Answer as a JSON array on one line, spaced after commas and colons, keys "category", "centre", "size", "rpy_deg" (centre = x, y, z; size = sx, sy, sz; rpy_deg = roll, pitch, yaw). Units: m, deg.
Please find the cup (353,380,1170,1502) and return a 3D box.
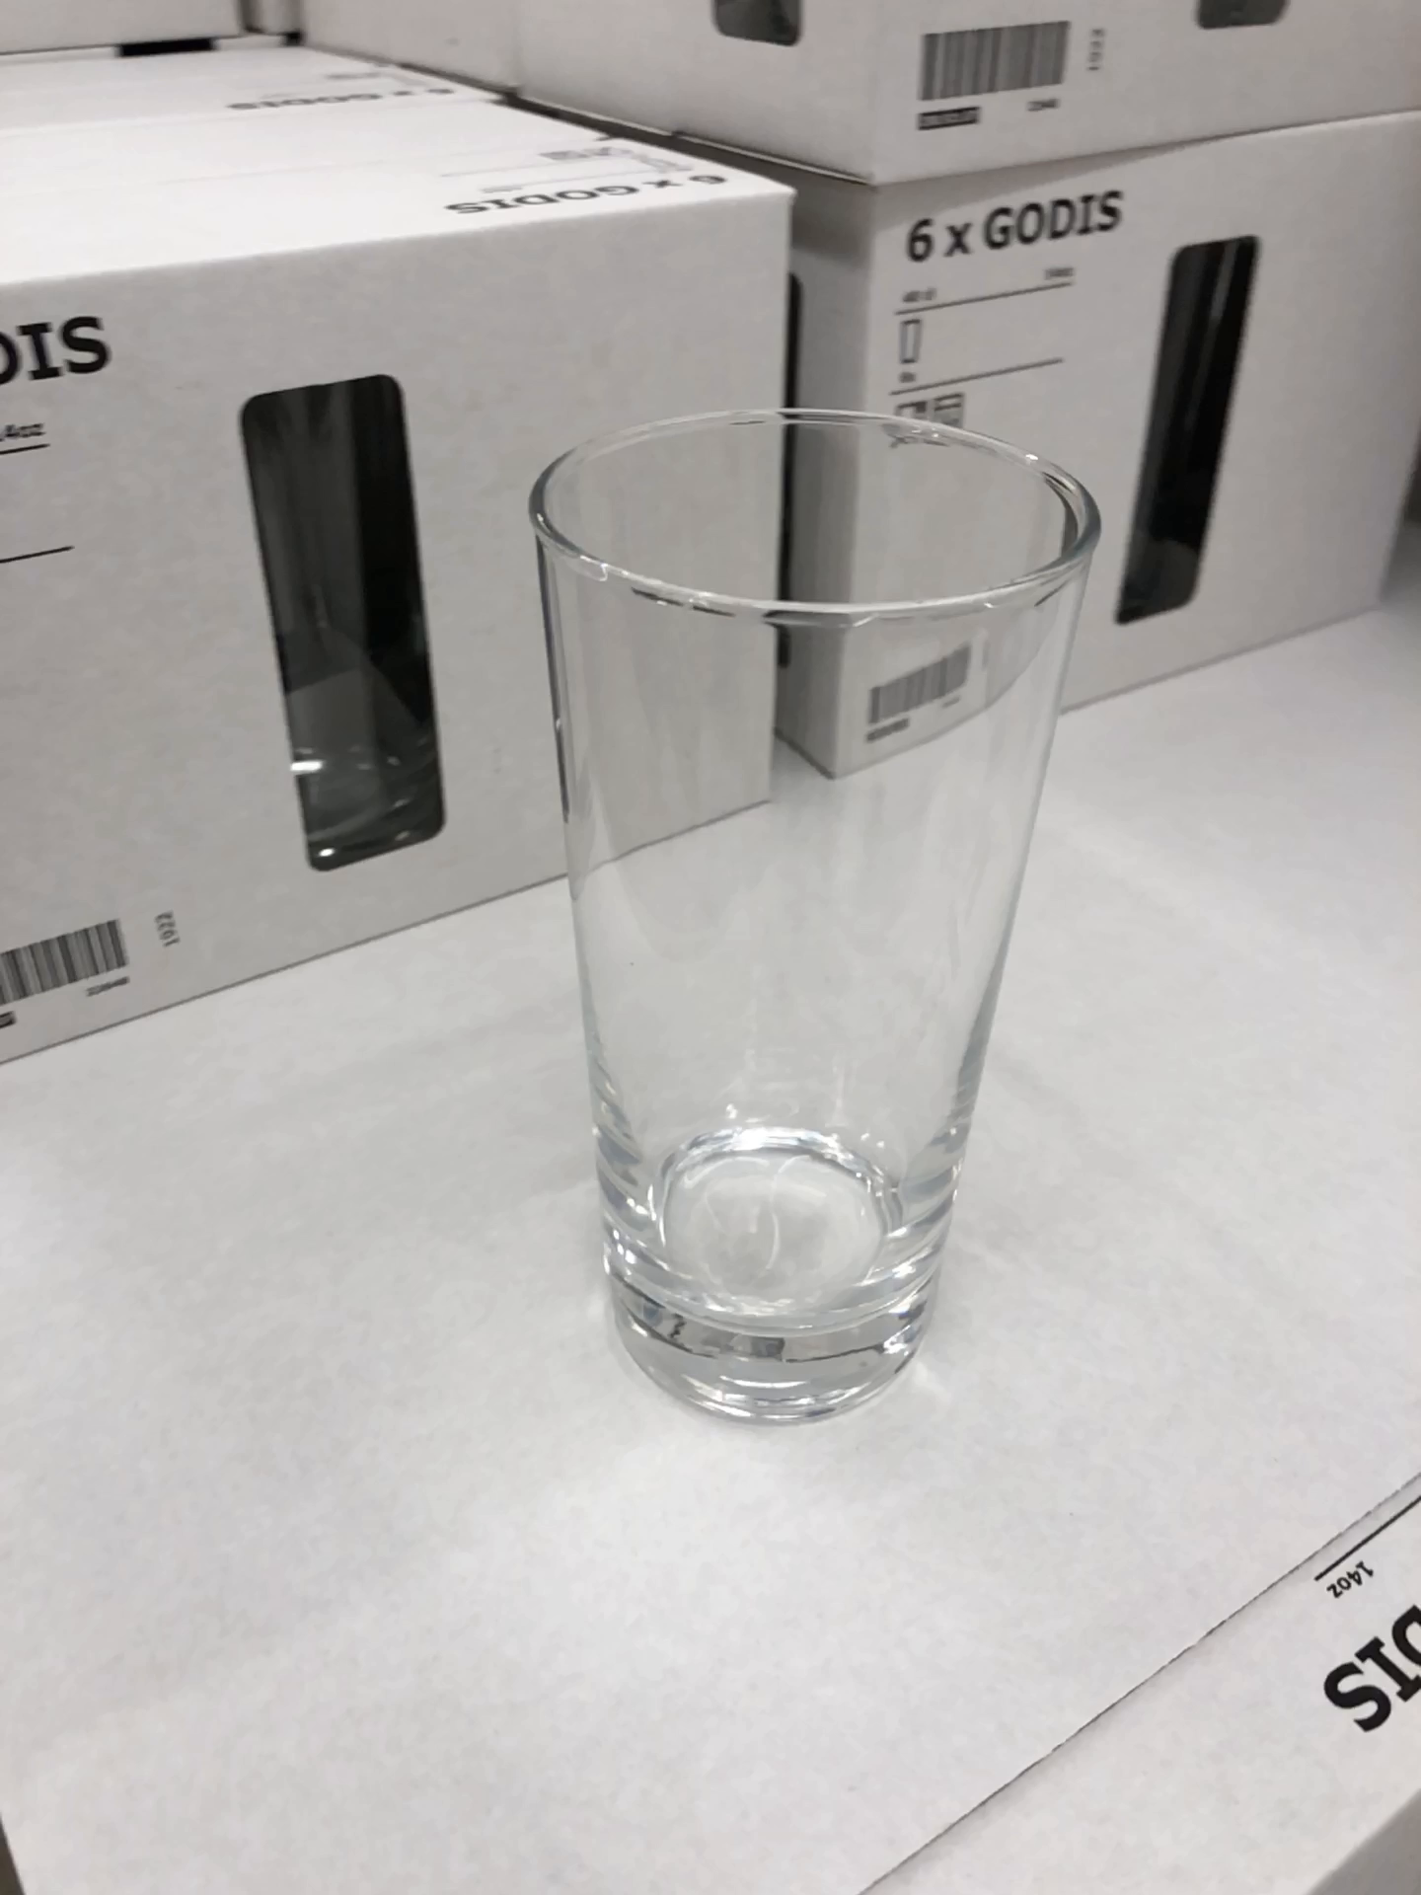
[{"category": "cup", "centre": [0.009, -0.003, 0.252], "size": [0.080, 0.139, 0.080], "rpy_deg": [1, 35, -1]}]
